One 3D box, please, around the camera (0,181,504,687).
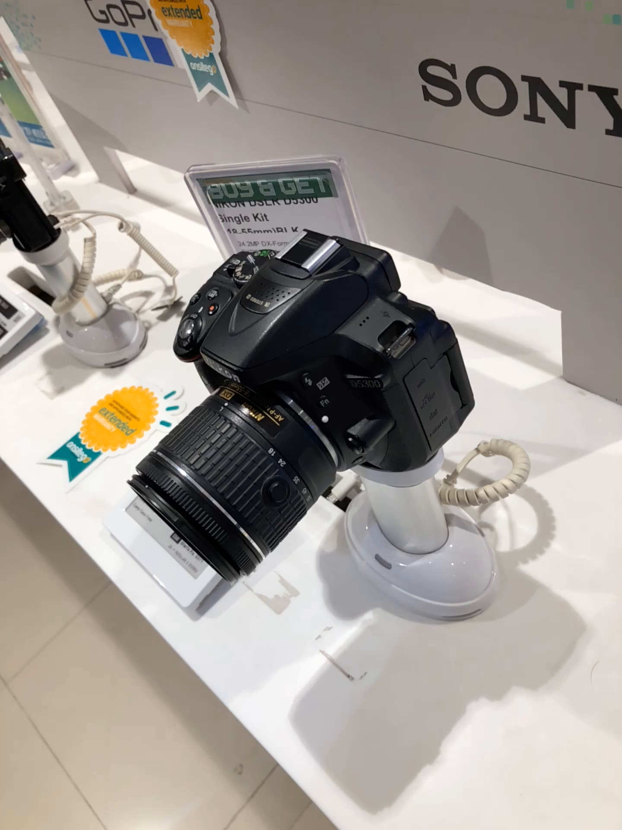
[{"bbox_3d":[-0.022,-0.003,0.291,0.141,0.099,0.140,28,65,36],"label":"camera"}]
